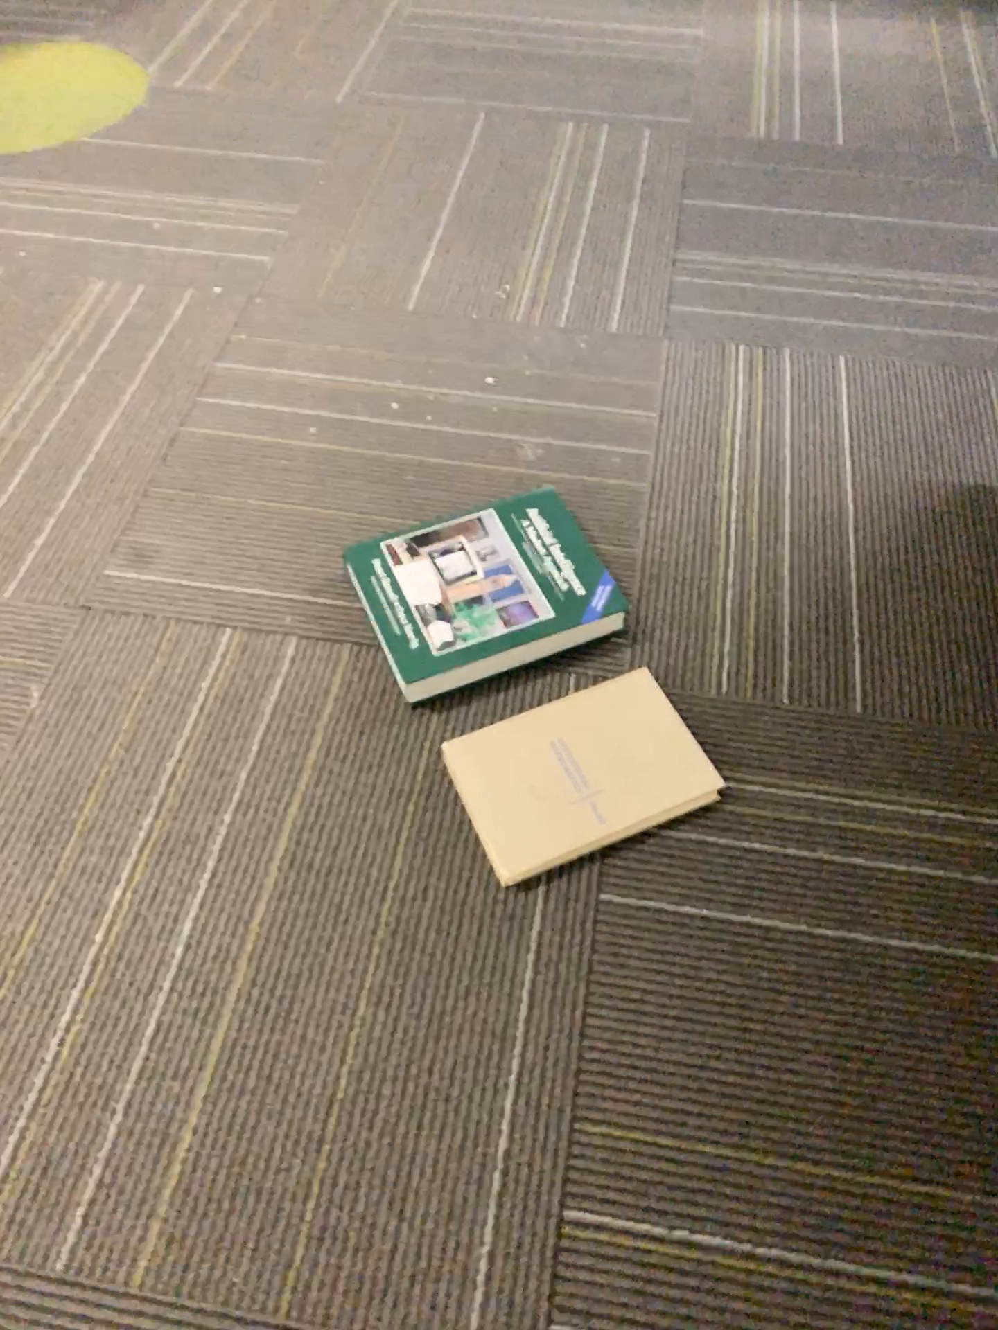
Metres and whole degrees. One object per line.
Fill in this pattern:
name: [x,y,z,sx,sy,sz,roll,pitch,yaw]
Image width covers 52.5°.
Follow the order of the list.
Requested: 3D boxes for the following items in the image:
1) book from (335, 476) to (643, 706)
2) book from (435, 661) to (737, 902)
book: [-0.015,-0.093,1.135,0.276,0.030,0.222,-19,56,-14]
book: [0.081,0.106,0.986,0.240,0.030,0.171,-19,56,-14]
